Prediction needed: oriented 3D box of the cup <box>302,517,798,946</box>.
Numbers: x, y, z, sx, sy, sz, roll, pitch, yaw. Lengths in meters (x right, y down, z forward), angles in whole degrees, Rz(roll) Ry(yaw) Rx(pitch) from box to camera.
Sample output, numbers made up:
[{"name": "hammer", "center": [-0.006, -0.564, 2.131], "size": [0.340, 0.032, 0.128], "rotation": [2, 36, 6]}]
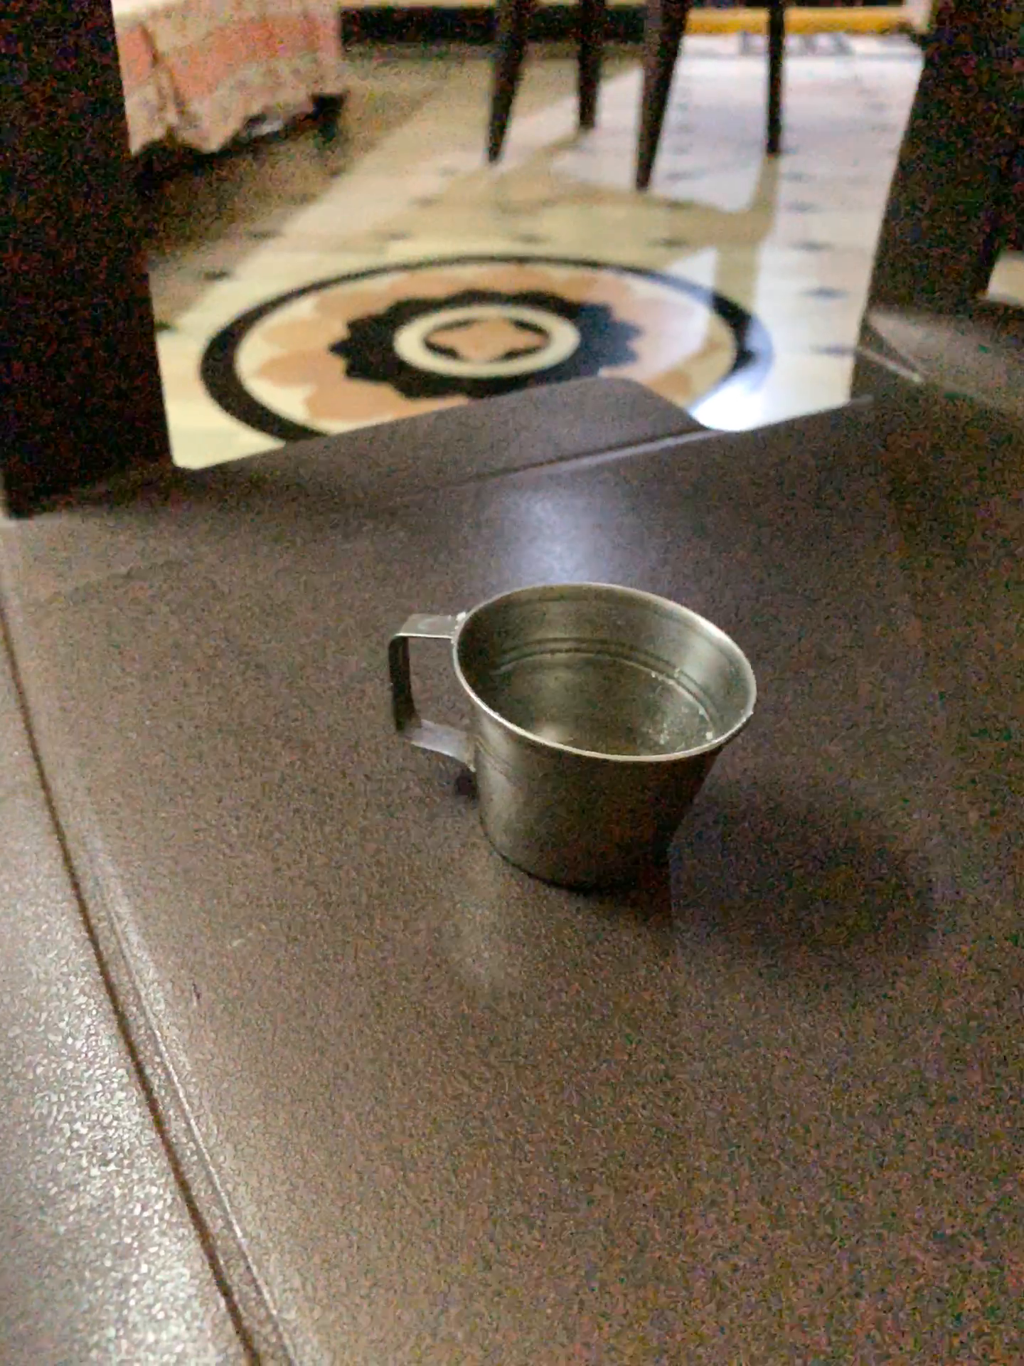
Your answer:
[{"name": "cup", "center": [0.009, 0.006, 0.217], "size": [0.080, 0.040, 0.060], "rotation": [14, 40, 14]}]
